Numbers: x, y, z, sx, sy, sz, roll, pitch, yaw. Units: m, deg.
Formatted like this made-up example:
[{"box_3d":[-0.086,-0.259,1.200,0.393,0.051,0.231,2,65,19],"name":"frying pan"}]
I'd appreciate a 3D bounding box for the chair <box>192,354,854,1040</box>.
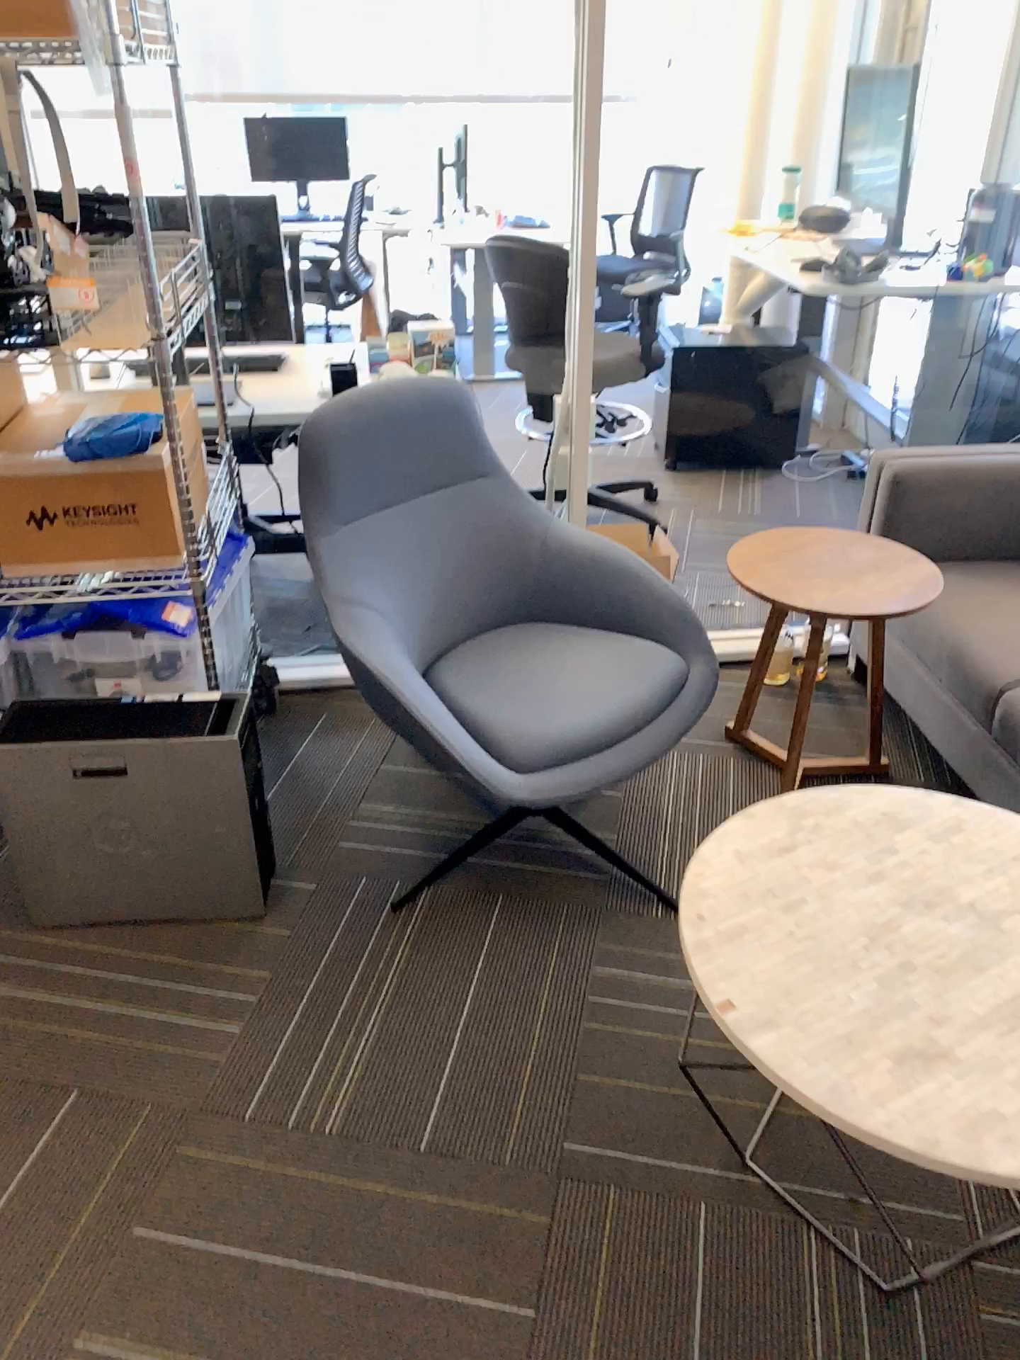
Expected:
[{"box_3d":[0.006,-0.070,2.281,0.841,0.964,1.004,-26,39,-36],"name":"chair"}]
